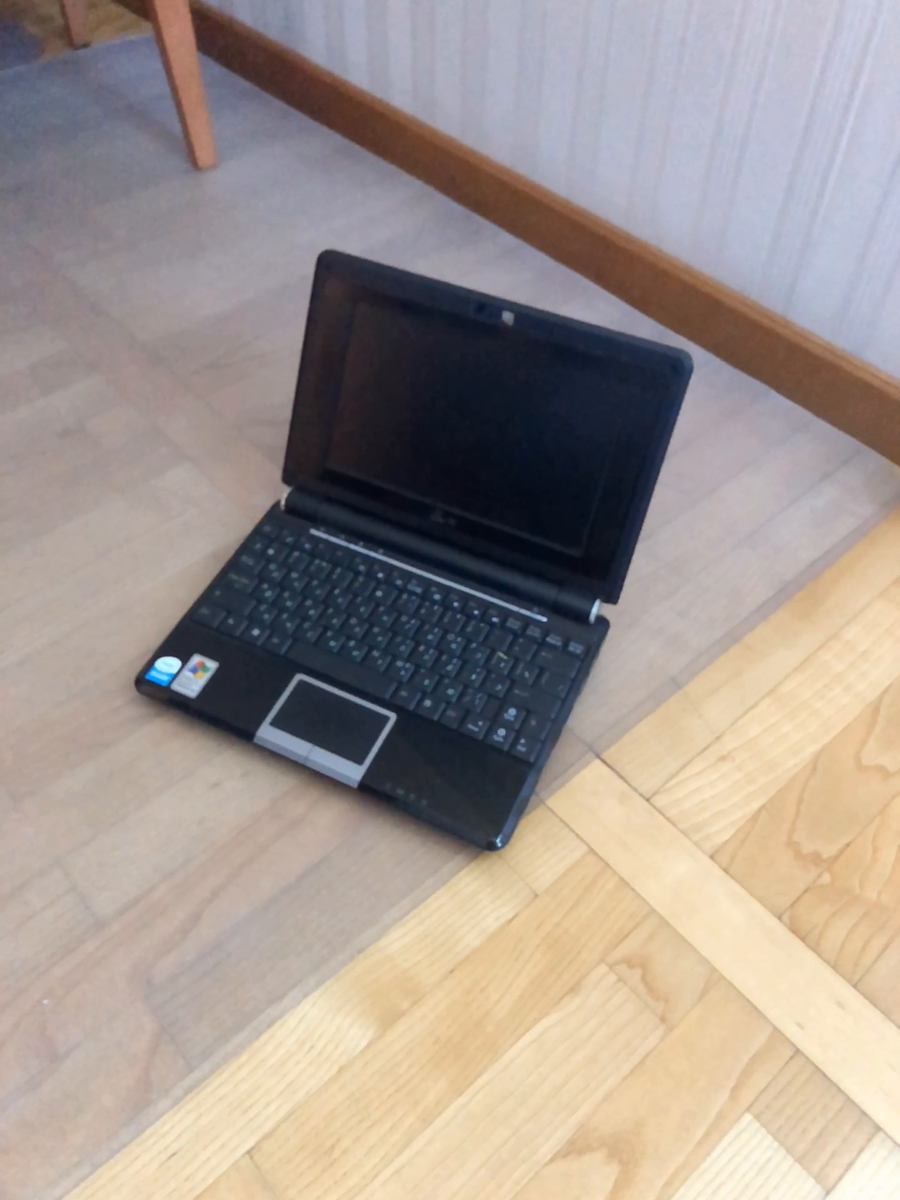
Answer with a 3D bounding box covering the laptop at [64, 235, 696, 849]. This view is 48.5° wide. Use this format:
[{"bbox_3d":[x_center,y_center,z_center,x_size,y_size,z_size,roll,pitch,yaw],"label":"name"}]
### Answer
[{"bbox_3d":[-0.029,-0.053,0.632,0.264,0.159,0.278,21,54,15],"label":"laptop"}]
